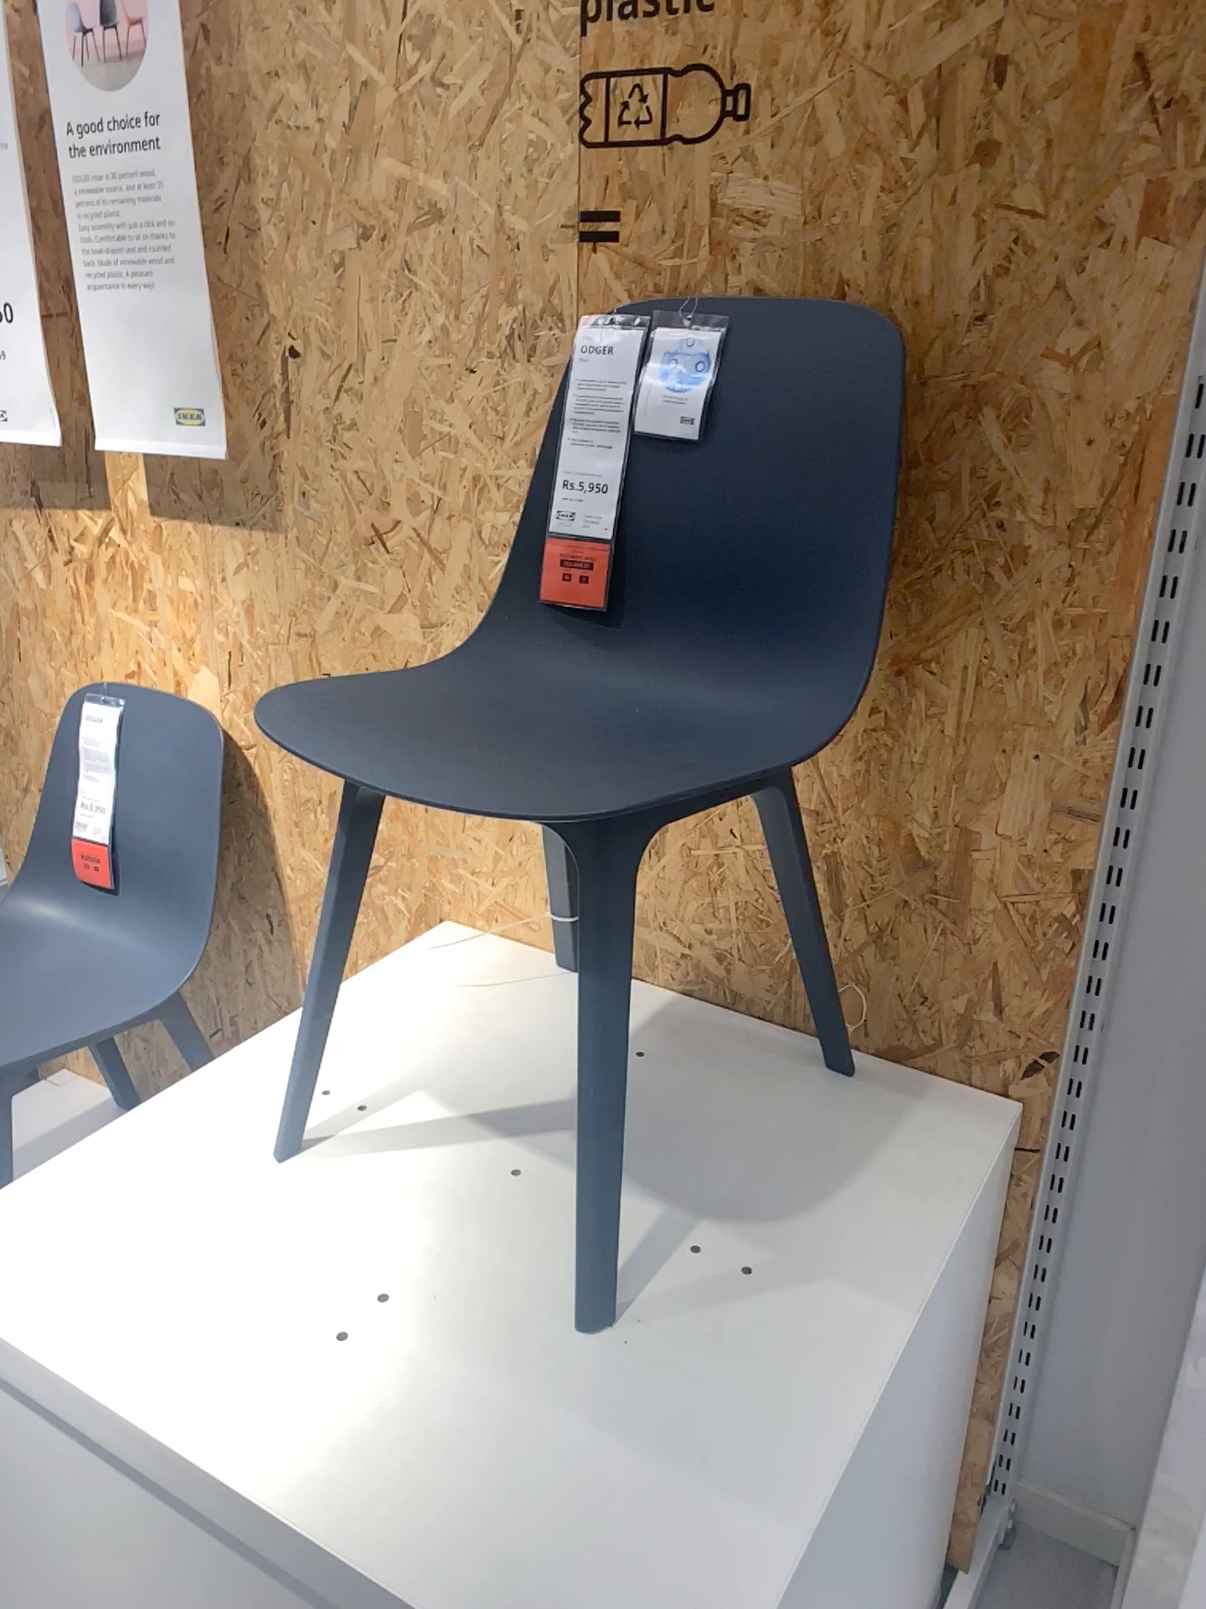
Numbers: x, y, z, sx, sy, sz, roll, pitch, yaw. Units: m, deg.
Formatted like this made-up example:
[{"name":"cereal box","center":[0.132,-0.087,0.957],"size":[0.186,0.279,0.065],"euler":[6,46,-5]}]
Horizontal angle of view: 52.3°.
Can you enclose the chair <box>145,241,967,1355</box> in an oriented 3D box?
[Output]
[{"name":"chair","center":[-0.021,-0.062,1.100],"size":[0.431,0.767,0.501],"euler":[15,25,32]}]
